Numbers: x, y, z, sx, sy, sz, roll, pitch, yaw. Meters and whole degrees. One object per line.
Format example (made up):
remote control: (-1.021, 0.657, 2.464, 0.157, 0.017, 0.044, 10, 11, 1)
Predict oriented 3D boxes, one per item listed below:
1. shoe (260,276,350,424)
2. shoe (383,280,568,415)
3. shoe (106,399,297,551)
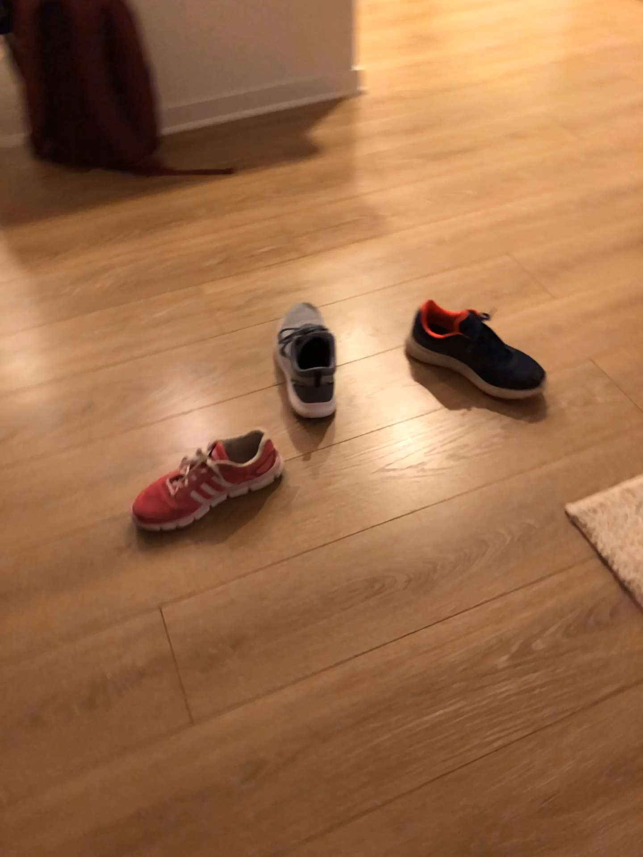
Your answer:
shoe: (-0.036, -0.162, 1.381, 0.130, 0.080, 0.322, -8, 49, -5)
shoe: (0.295, -0.165, 1.386, 0.320, 0.099, 0.131, 26, 54, 23)
shoe: (-0.199, 0.074, 1.197, 0.280, 0.090, 0.130, -23, 52, -18)
